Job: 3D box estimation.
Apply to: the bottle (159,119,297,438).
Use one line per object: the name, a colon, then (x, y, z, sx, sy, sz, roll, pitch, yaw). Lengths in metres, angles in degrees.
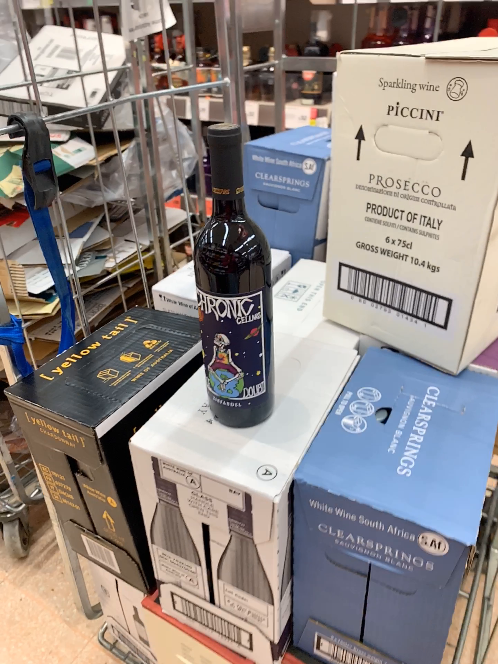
bottle: (-0.012, -0.044, 0.495, 0.085, 0.284, 0.085, -1, 31, 0)
